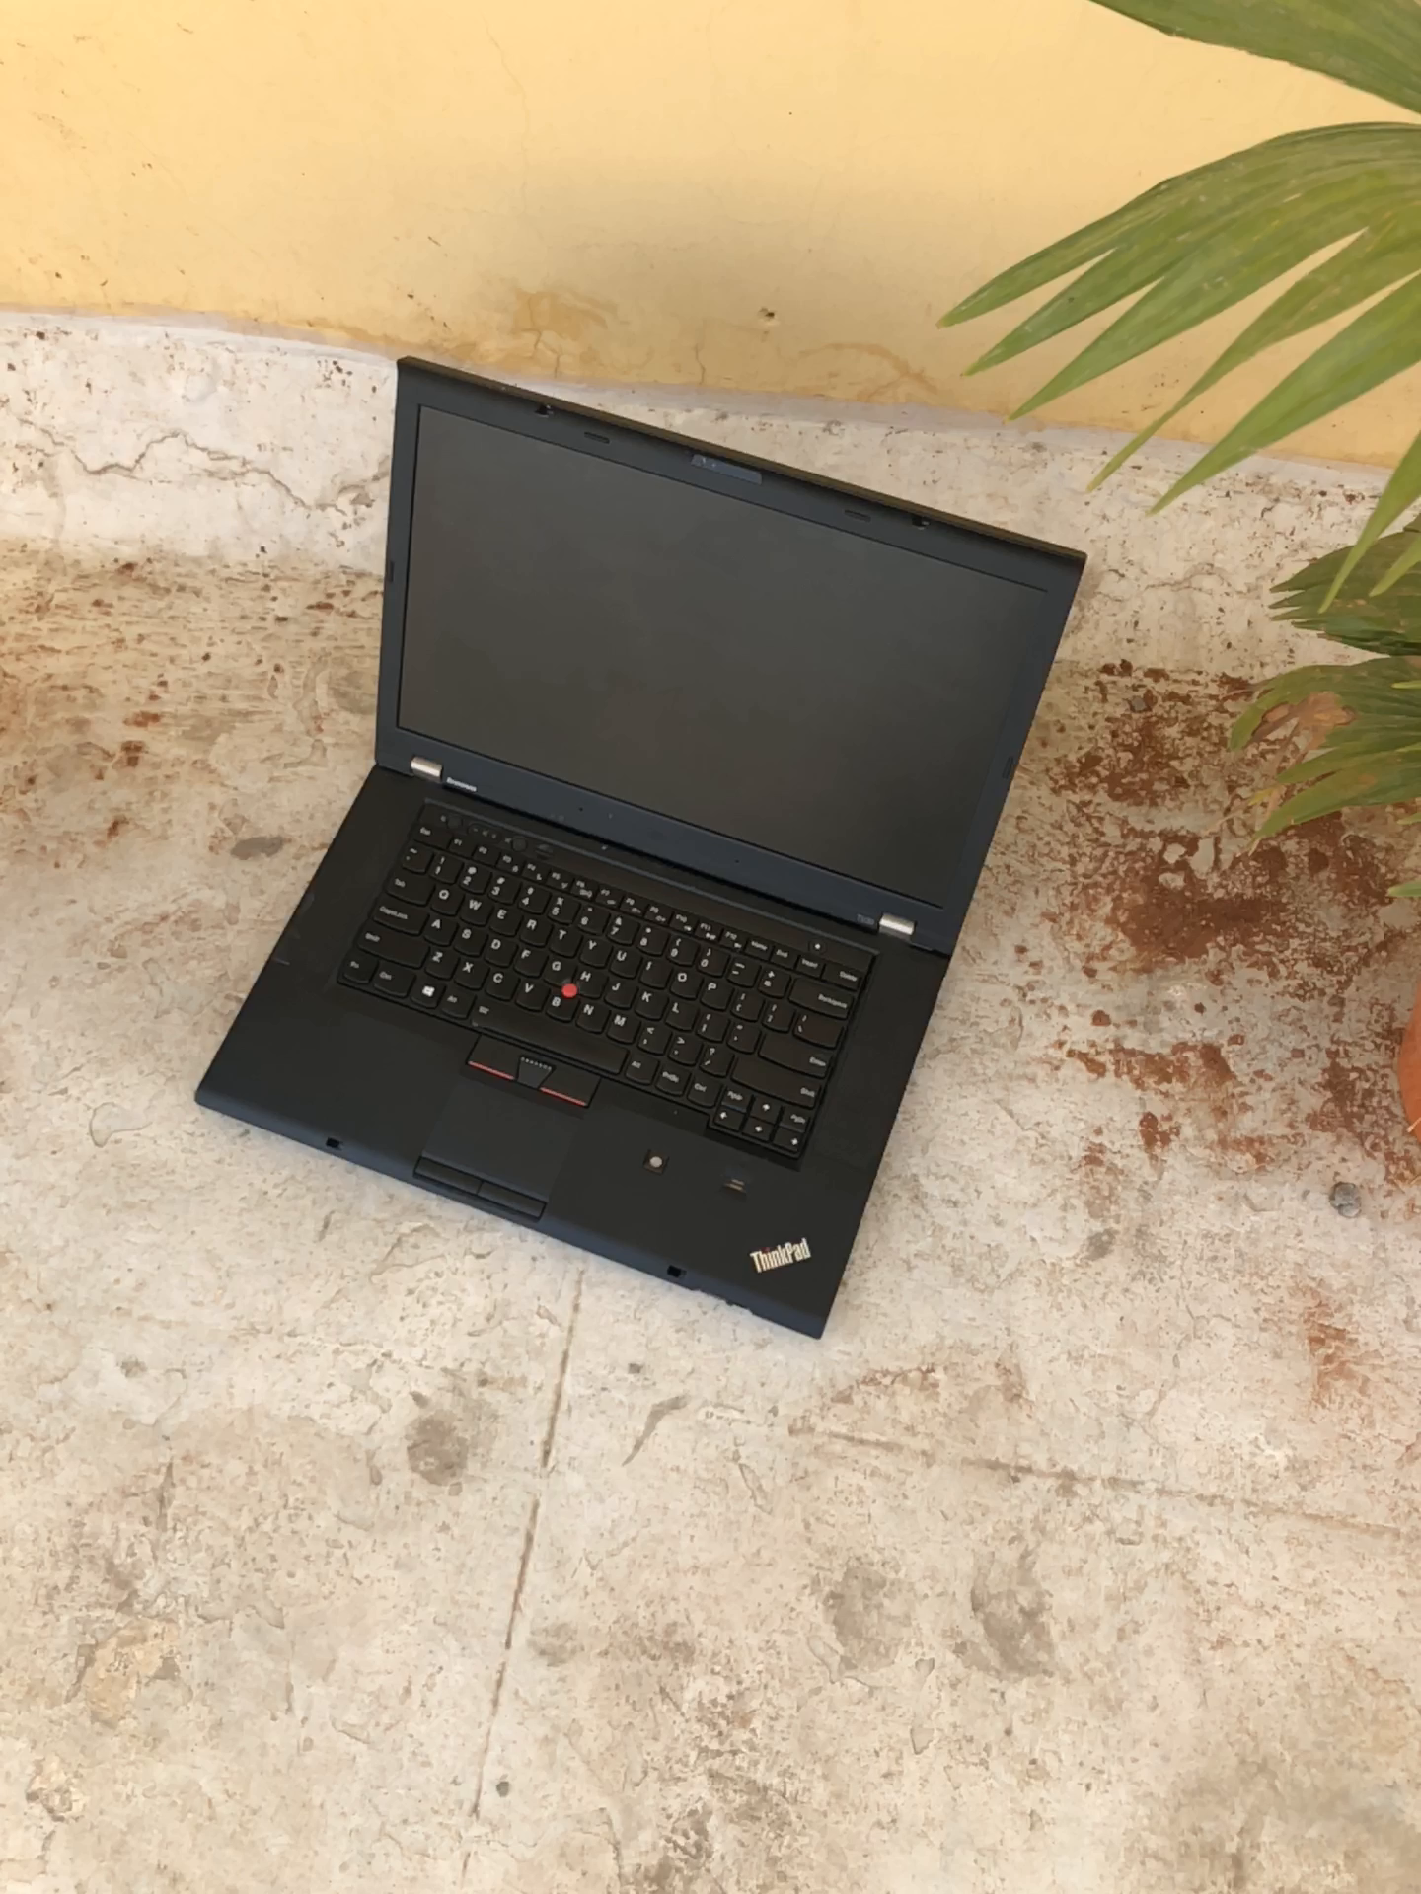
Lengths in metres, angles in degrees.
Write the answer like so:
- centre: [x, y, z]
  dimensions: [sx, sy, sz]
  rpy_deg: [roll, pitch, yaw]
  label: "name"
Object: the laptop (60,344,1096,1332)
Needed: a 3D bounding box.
- centre: [-0.047, -0.057, 0.804]
  dimensions: [0.360, 0.208, 0.353]
  rpy_deg: [19, 67, 10]
  label: "laptop"
